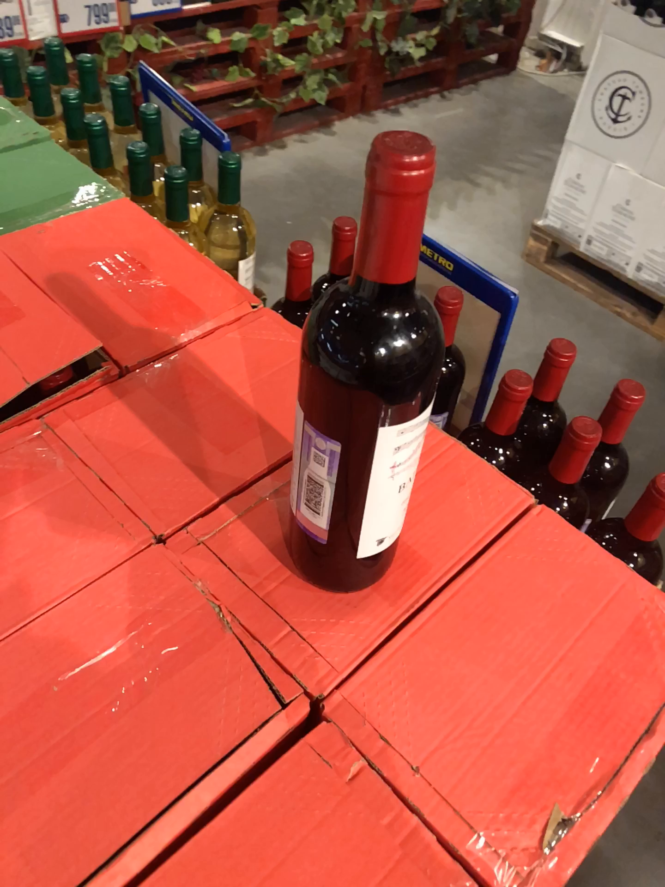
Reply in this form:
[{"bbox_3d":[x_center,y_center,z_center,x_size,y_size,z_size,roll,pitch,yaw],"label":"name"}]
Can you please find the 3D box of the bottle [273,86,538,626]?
[{"bbox_3d":[0.026,-0.023,0.400,0.080,0.287,0.091,14,46,5],"label":"bottle"}]
